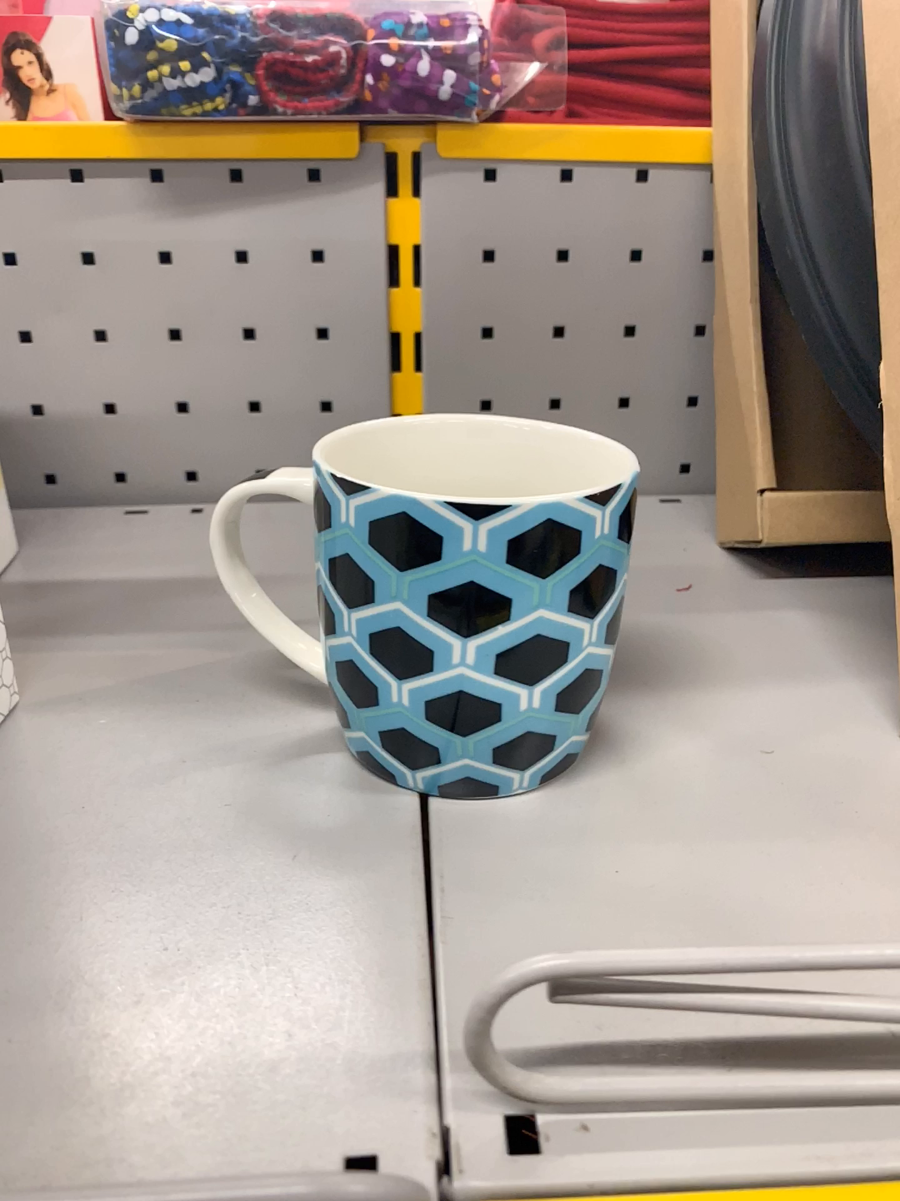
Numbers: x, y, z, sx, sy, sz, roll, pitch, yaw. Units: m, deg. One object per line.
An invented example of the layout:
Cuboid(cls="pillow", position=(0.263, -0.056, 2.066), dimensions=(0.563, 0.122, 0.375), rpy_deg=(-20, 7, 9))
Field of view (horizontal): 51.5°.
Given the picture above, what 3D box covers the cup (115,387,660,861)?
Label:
Cuboid(cls="cup", position=(-0.010, -0.002, 0.265), dimensions=(0.120, 0.090, 0.090), rpy_deg=(7, 25, 15))
